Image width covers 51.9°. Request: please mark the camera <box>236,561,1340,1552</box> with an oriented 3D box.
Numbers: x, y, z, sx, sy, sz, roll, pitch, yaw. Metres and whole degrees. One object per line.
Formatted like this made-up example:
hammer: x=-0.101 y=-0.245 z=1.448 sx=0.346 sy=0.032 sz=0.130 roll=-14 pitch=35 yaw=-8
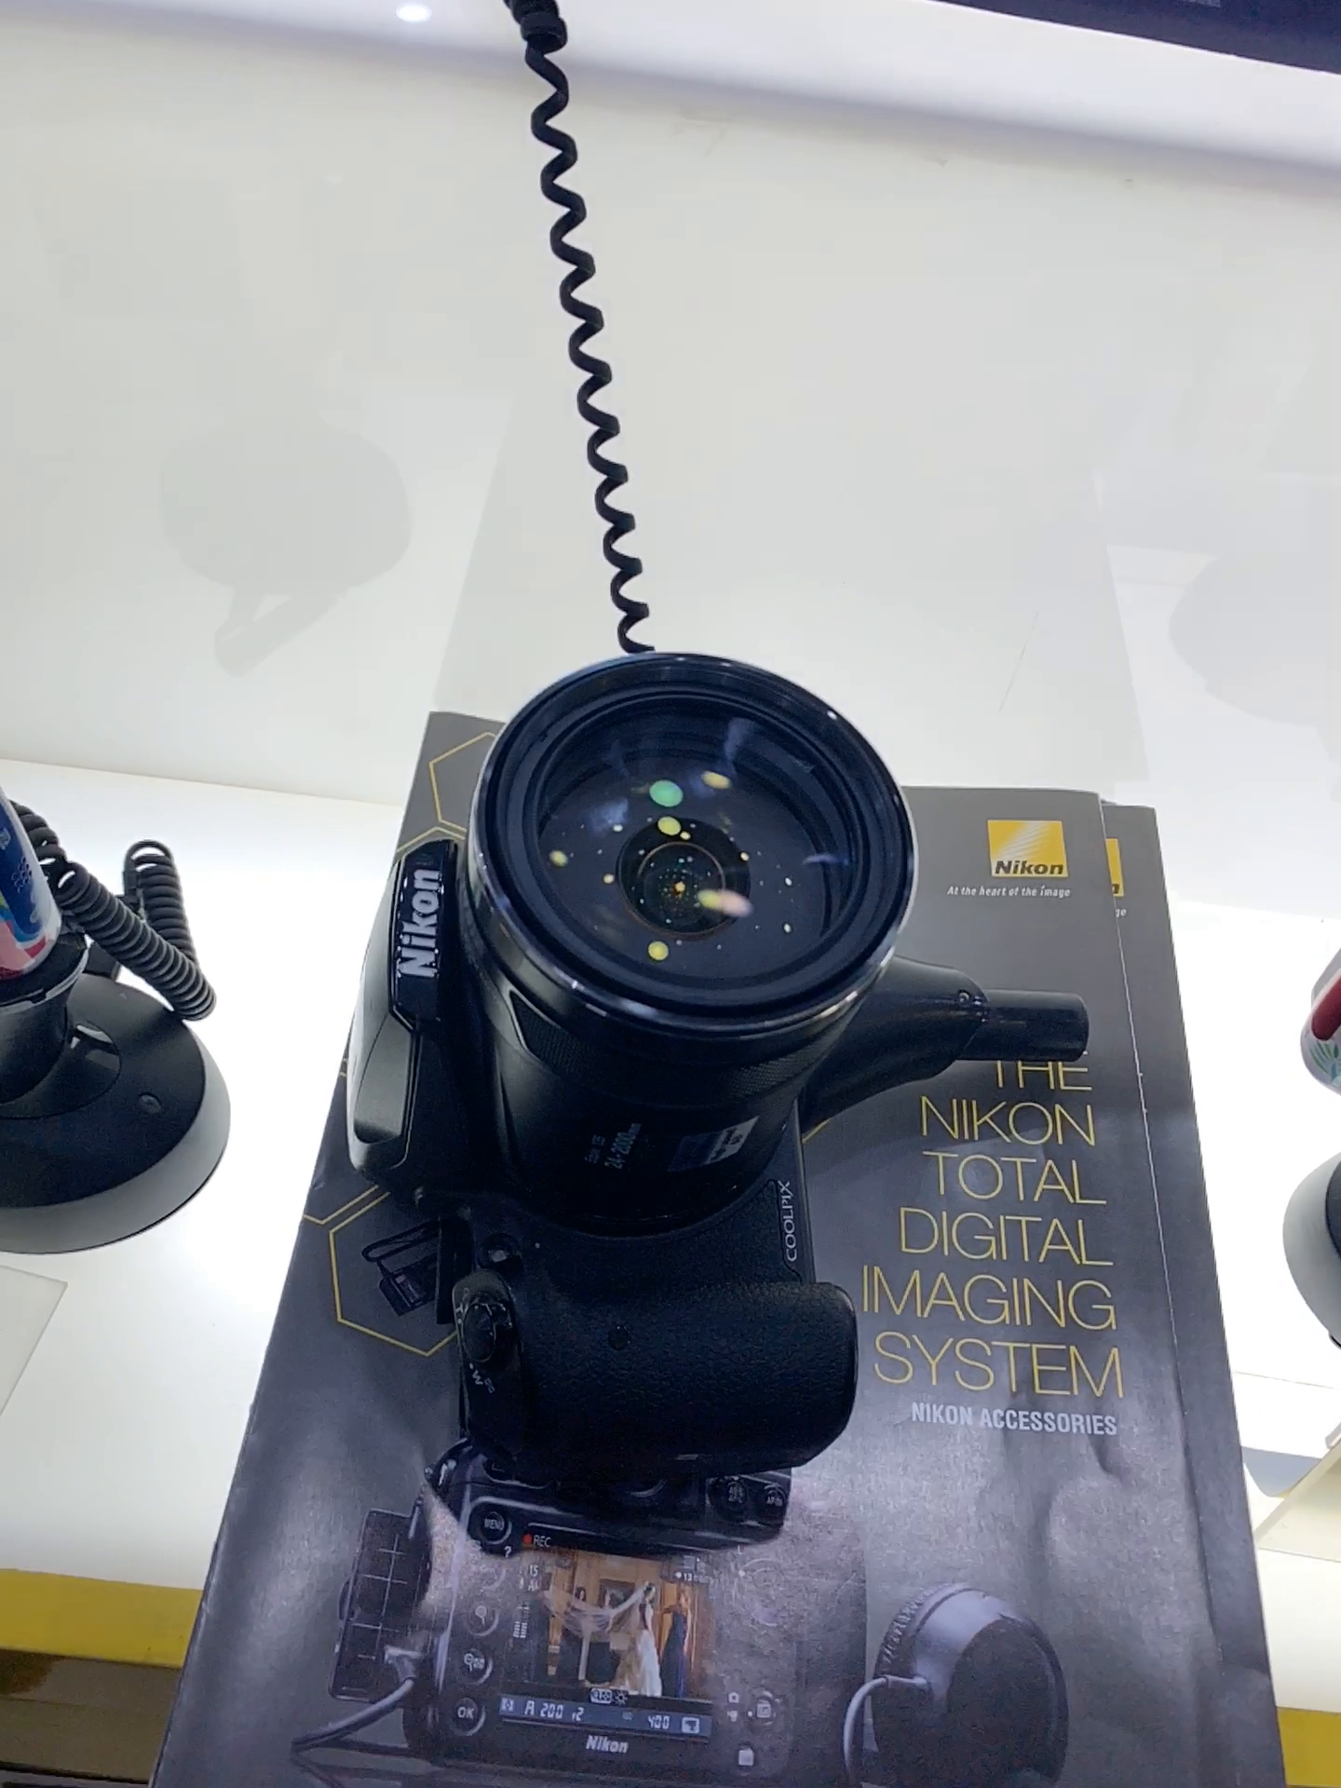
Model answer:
camera: x=0.031 y=0.036 z=0.262 sx=0.200 sy=0.100 sz=0.140 roll=5 pitch=52 yaw=-13
